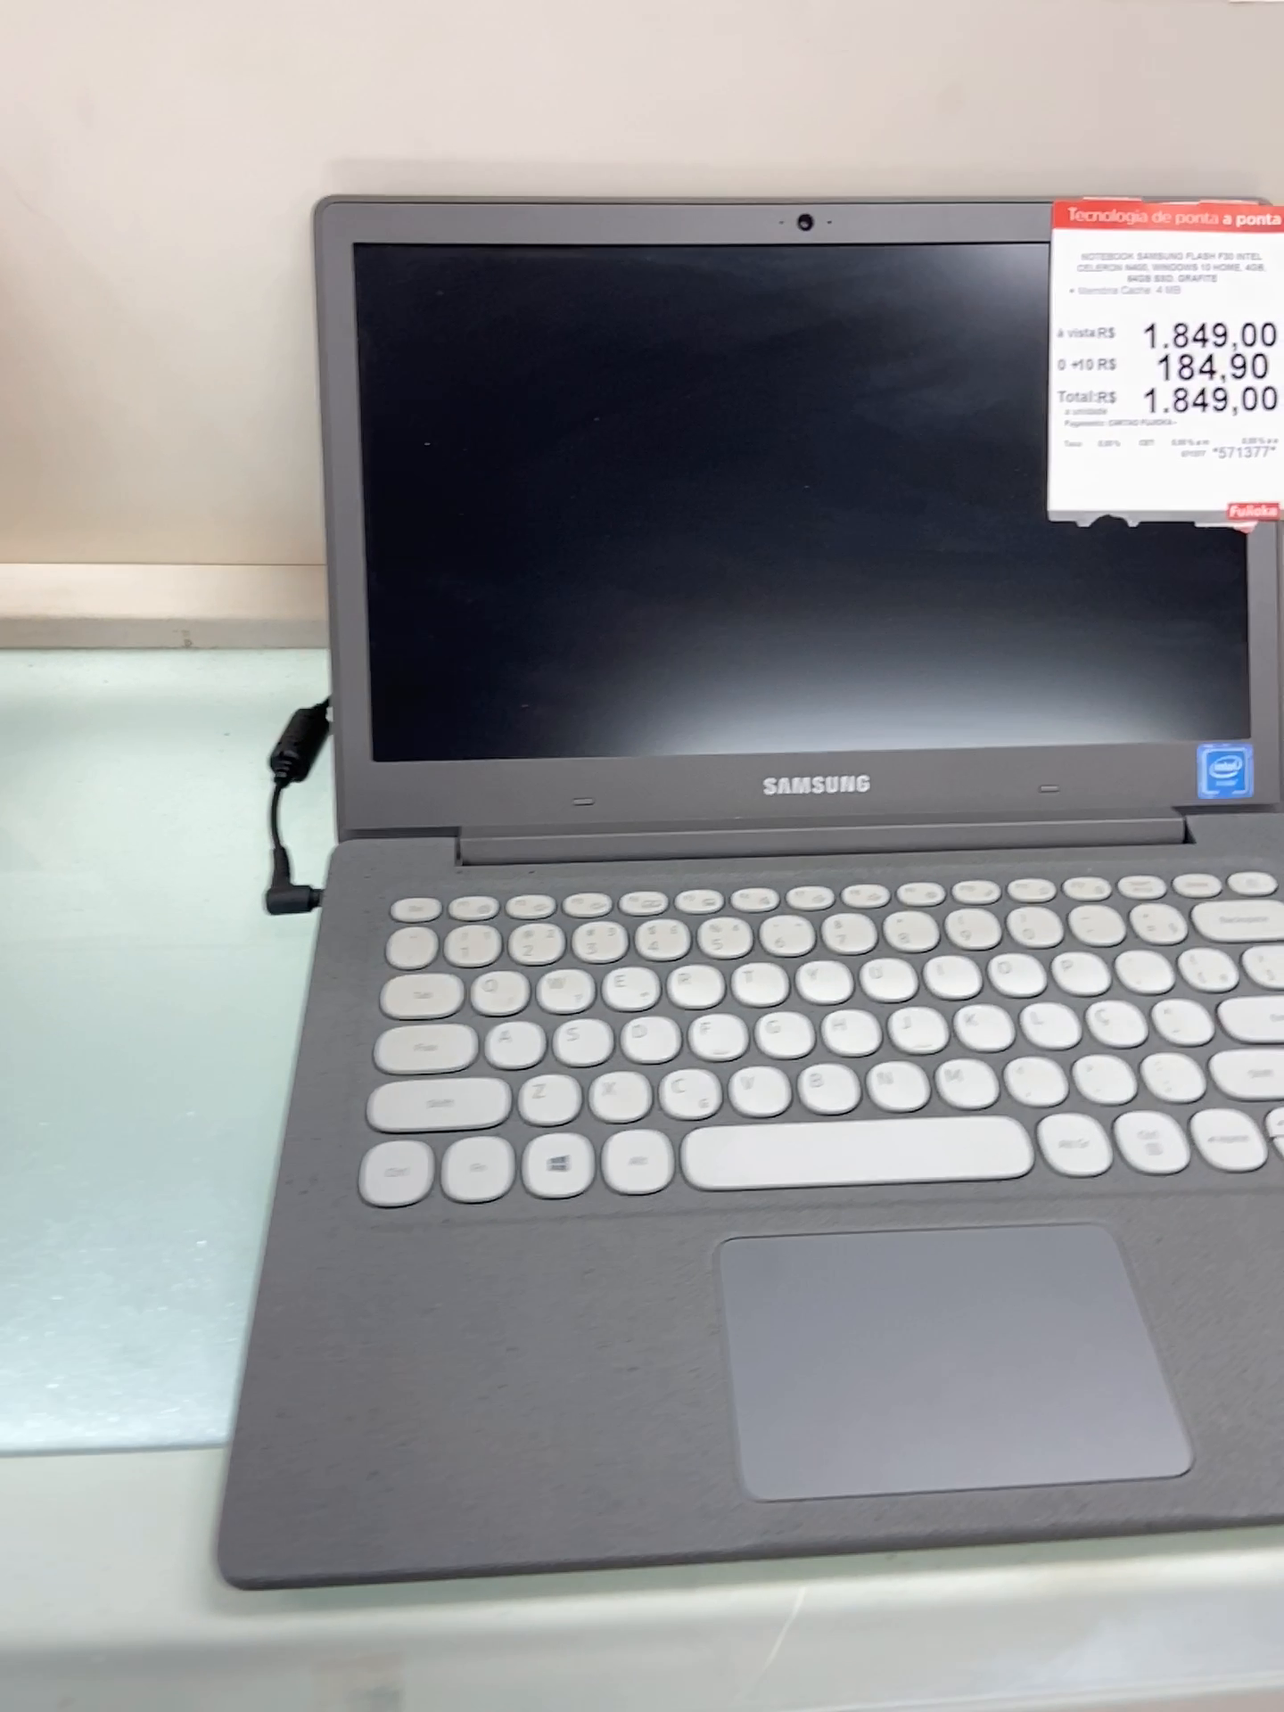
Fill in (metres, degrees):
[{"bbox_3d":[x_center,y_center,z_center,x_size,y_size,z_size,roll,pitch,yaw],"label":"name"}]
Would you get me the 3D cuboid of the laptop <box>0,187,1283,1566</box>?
[{"bbox_3d":[0.062,-0.039,0.362,0.319,0.144,0.366,-1,45,-3],"label":"laptop"}]
